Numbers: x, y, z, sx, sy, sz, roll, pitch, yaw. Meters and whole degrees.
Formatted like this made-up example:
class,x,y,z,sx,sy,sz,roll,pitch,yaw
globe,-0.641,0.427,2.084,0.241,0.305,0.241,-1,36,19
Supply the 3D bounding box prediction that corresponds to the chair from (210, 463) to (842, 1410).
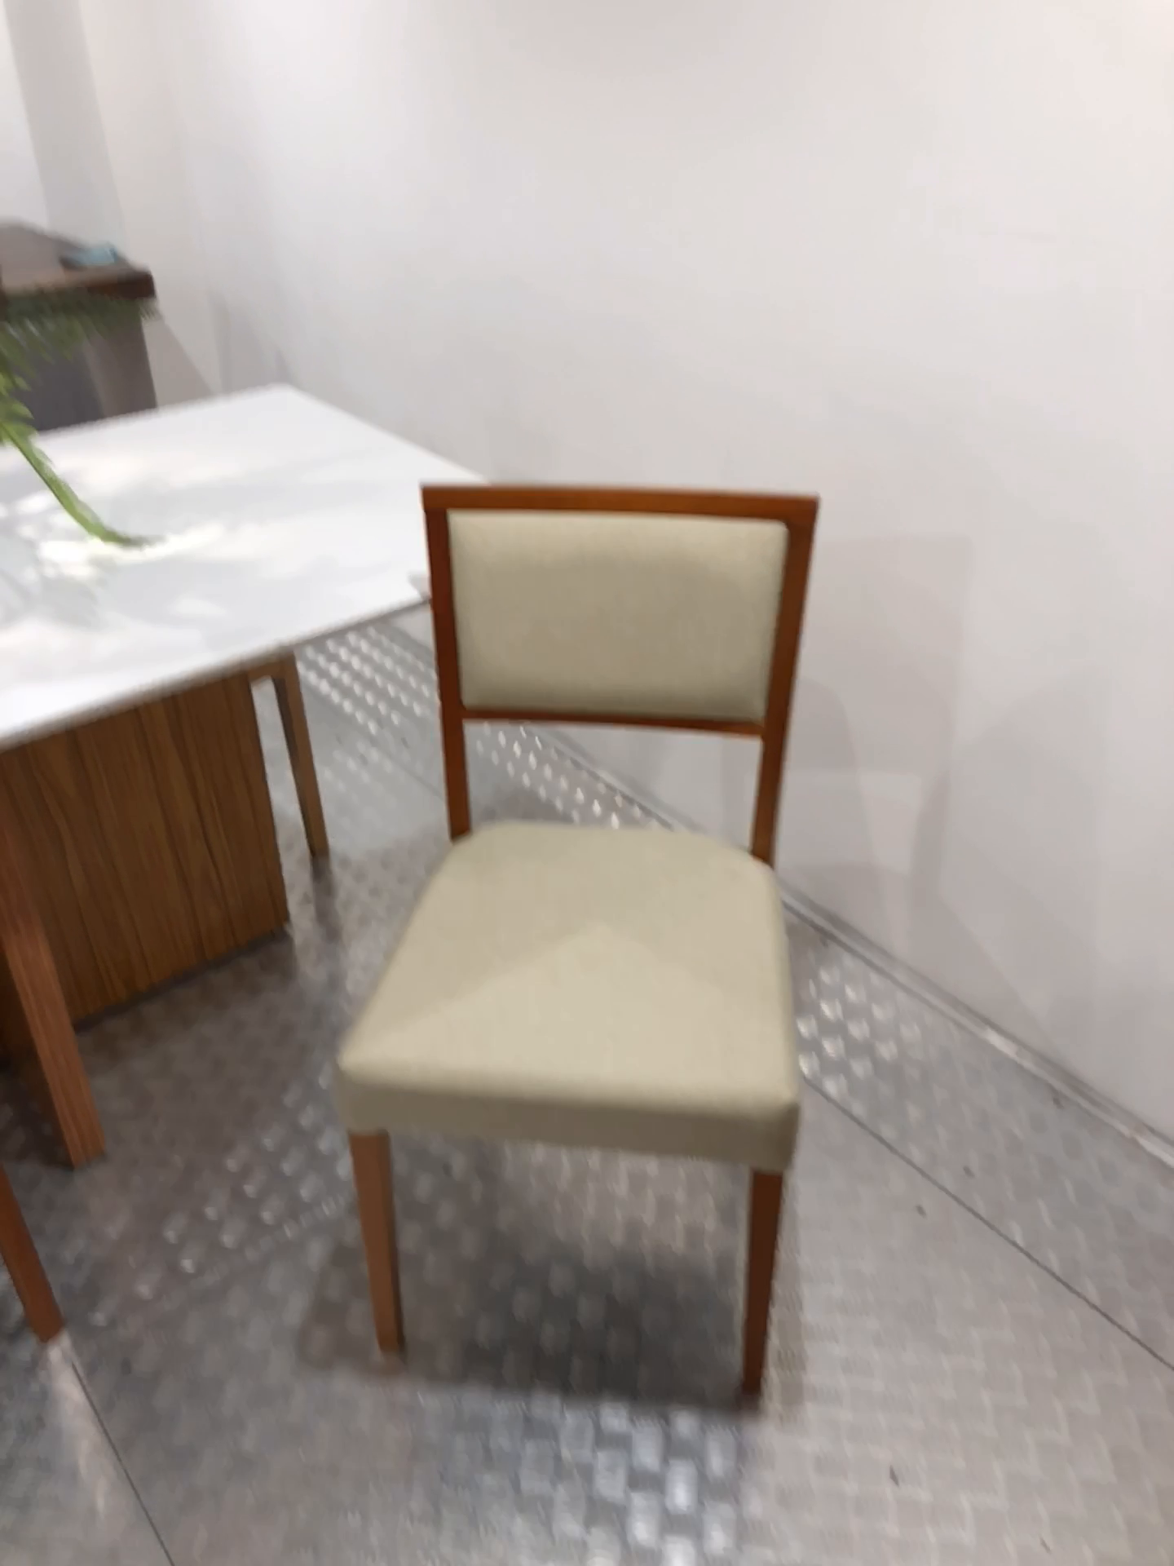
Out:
class,x,y,z,sx,sy,sz,roll,pitch,yaw
chair,-0.009,0.165,1.540,0.520,0.893,0.625,4,33,7
